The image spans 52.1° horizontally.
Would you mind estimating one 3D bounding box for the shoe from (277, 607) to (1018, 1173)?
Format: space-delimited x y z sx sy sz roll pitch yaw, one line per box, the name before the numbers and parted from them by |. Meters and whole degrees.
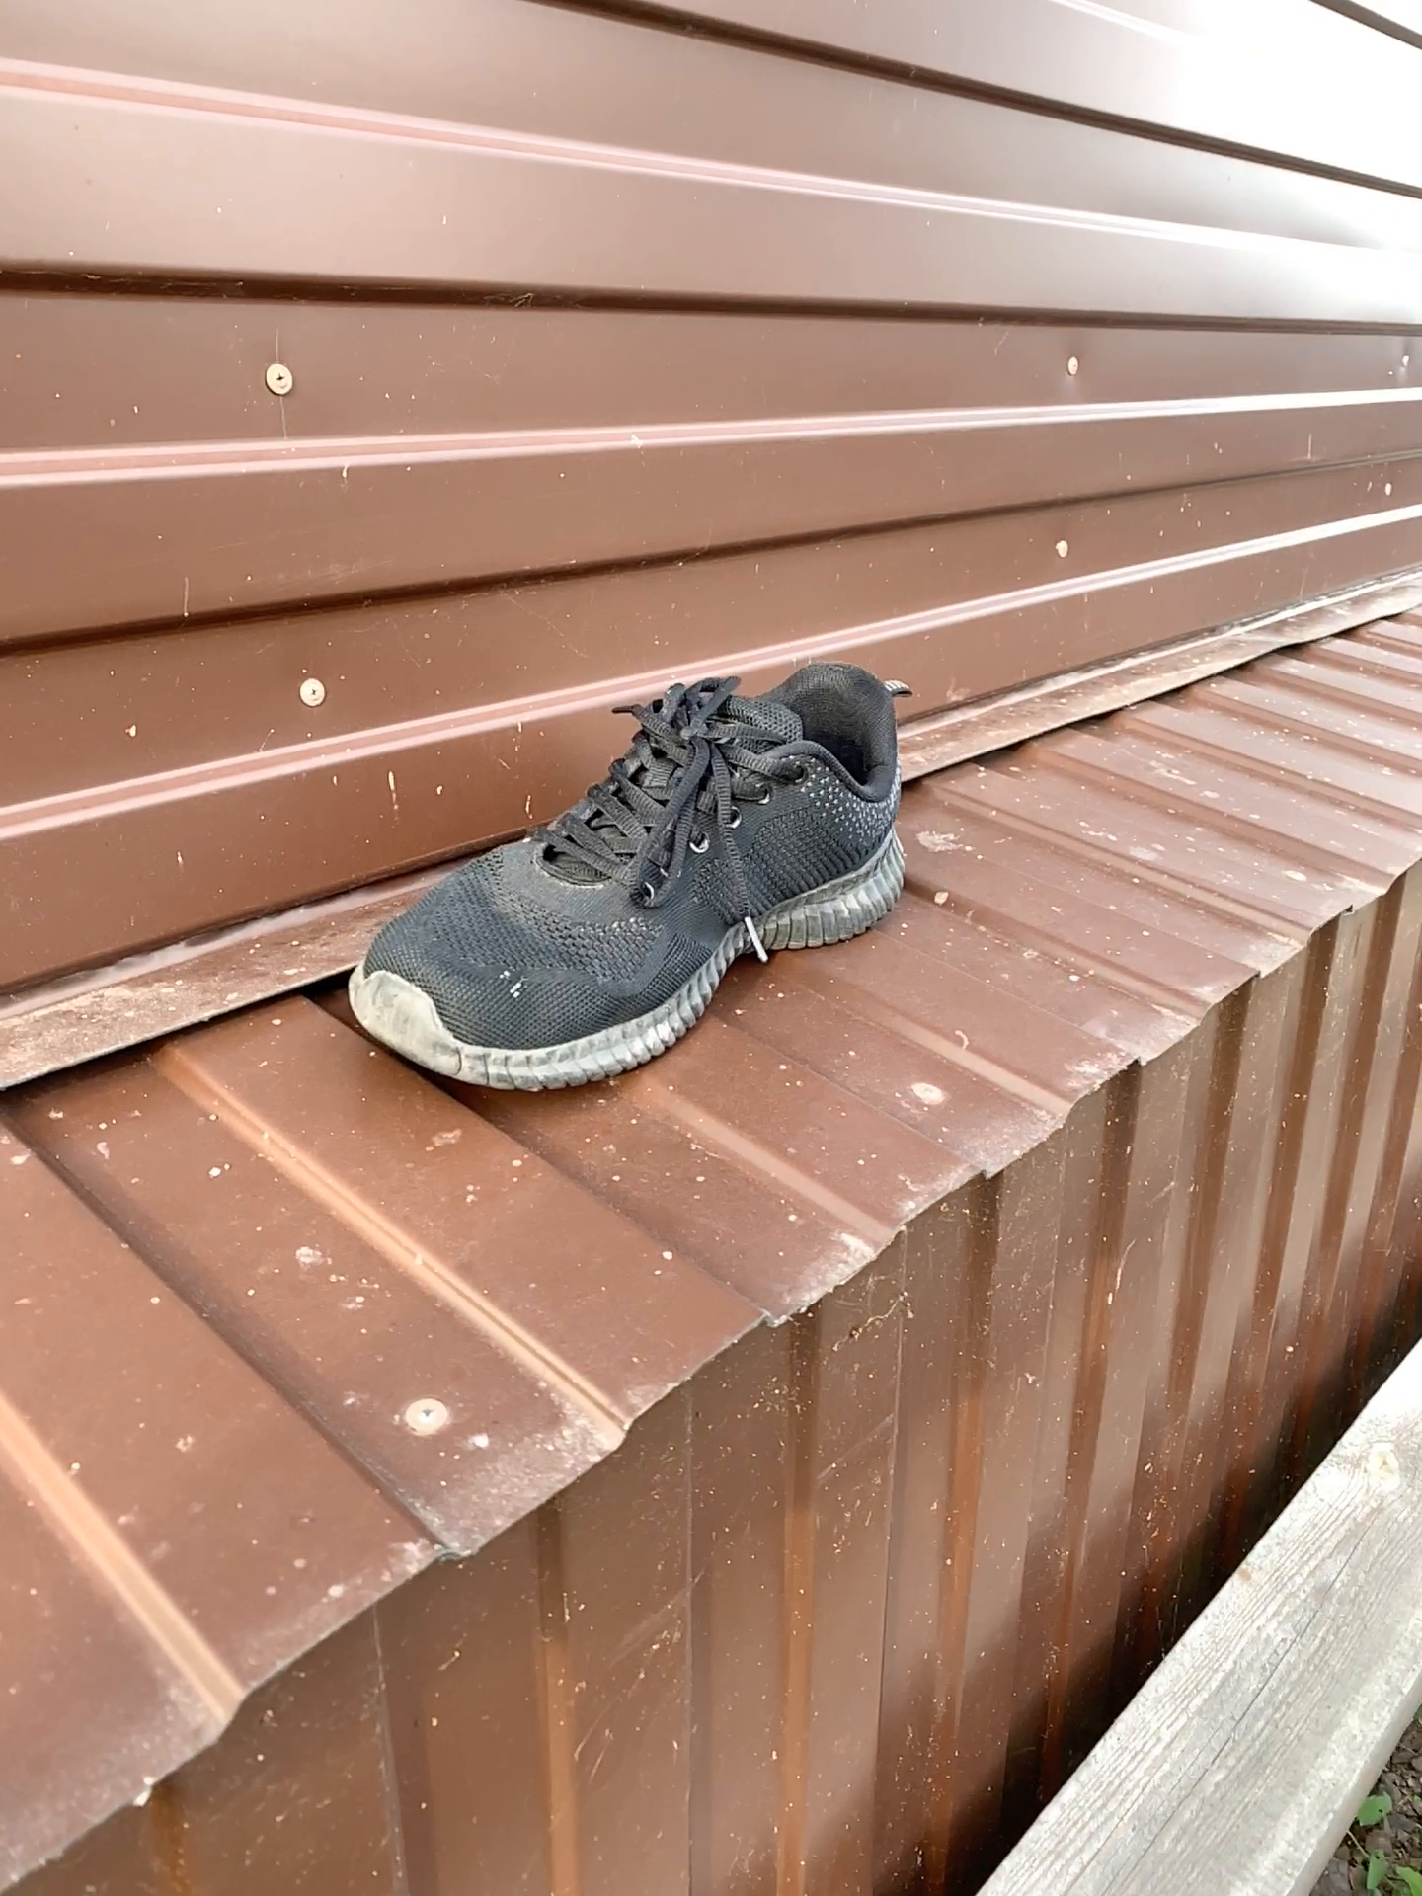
shoe | -0.012 -0.046 0.587 0.121 0.119 0.301 26 31 30
